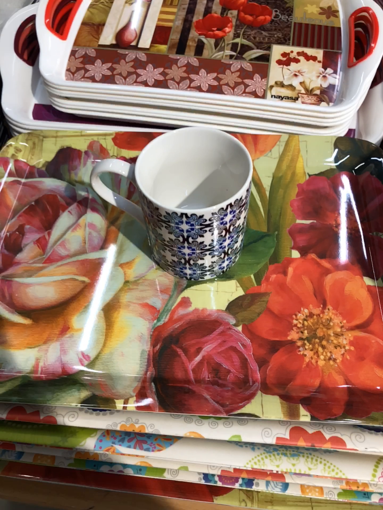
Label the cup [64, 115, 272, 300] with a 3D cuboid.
[{"bbox_3d":[-0.011,-0.035,0.330,0.130,0.099,0.091,4,54,3],"label":"cup"}]
